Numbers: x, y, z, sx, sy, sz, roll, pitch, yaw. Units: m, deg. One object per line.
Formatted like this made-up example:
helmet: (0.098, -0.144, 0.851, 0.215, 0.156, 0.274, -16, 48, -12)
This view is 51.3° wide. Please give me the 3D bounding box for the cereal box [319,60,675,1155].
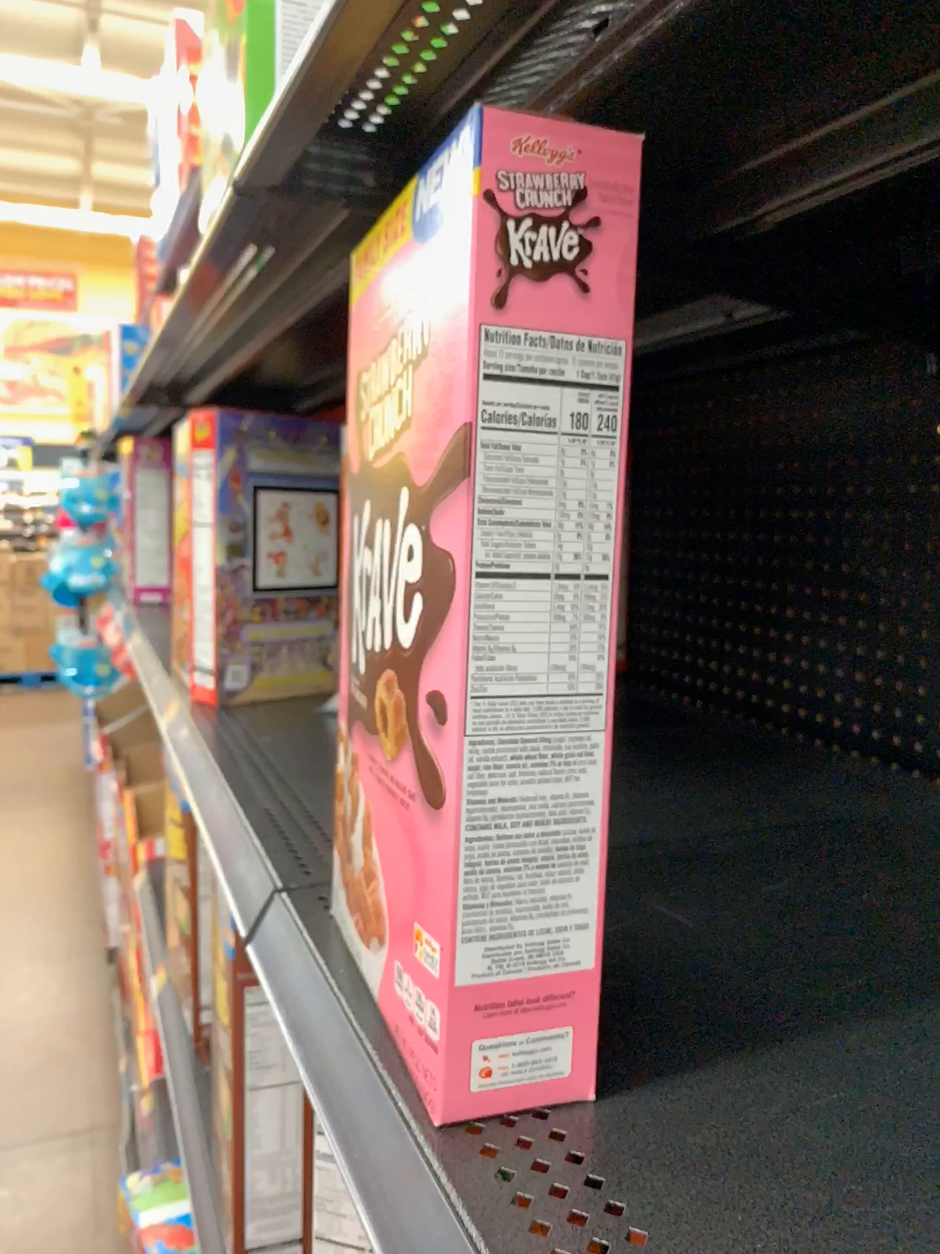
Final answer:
cereal box: (-0.007, -0.009, 0.397, 0.060, 0.330, 0.200, 1, 6, -19)
